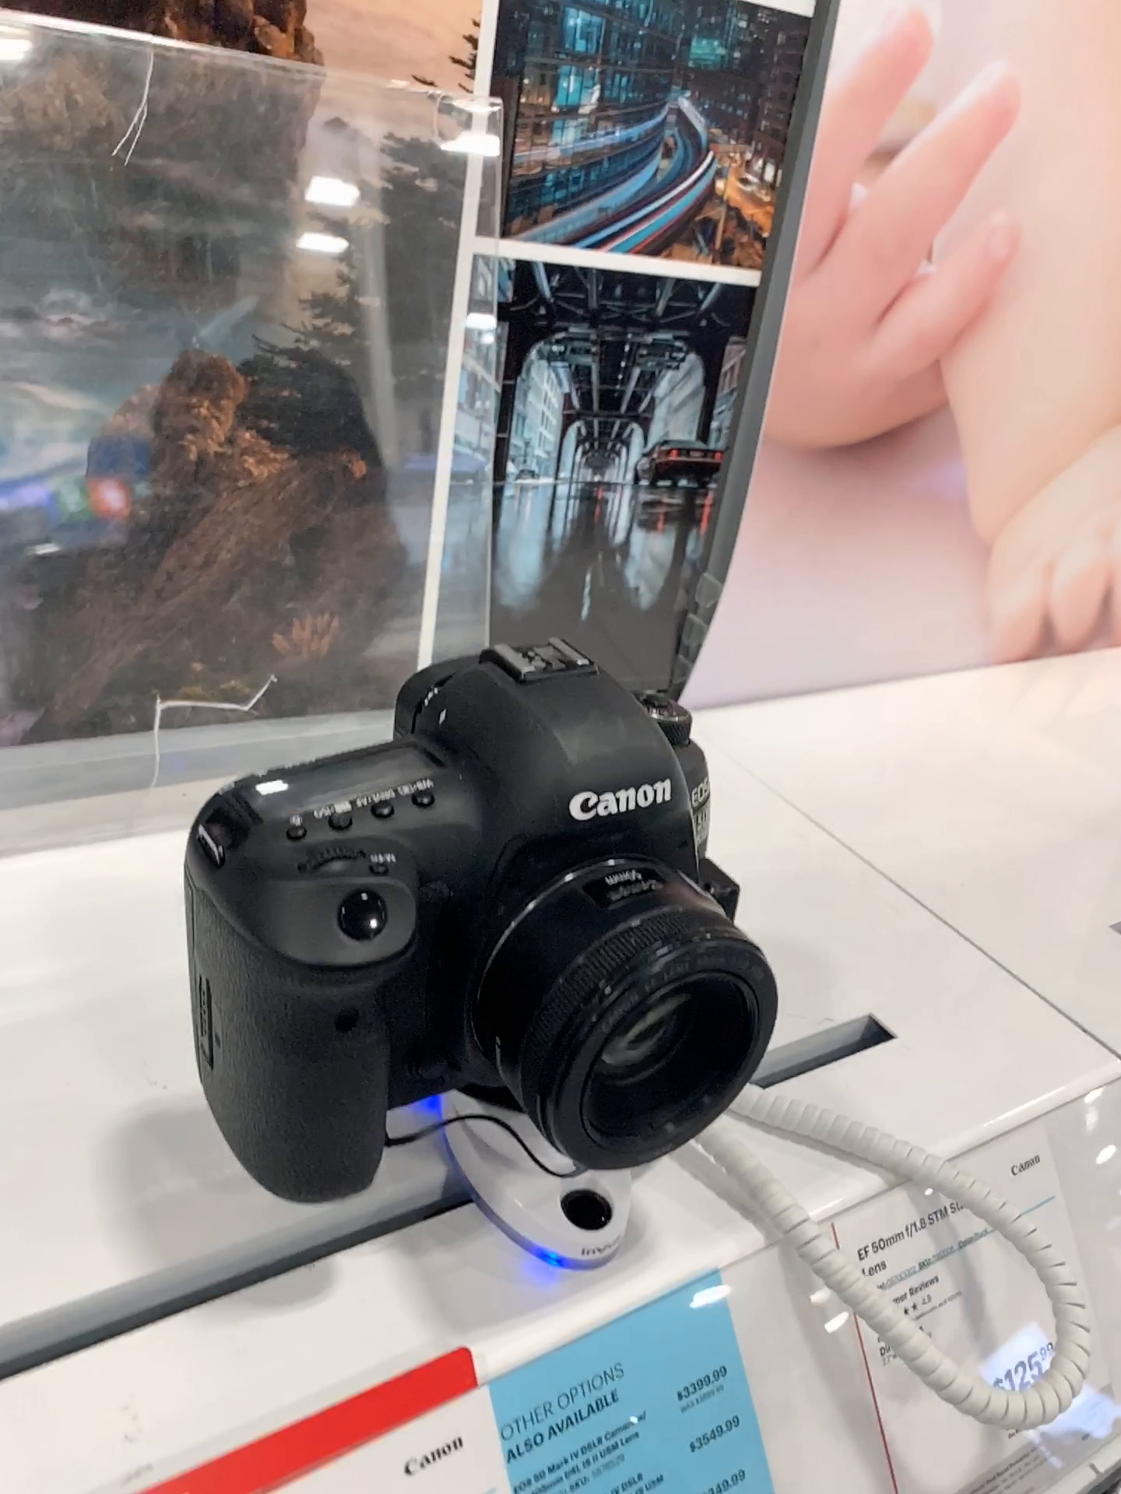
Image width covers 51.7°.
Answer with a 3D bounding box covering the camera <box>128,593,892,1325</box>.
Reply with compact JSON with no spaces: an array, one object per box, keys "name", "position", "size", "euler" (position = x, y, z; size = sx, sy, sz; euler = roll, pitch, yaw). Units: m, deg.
[{"name":"camera","position":[-0.021,0.037,0.291],"size":[0.140,0.106,0.112],"euler":[-9,33,-30]}]
